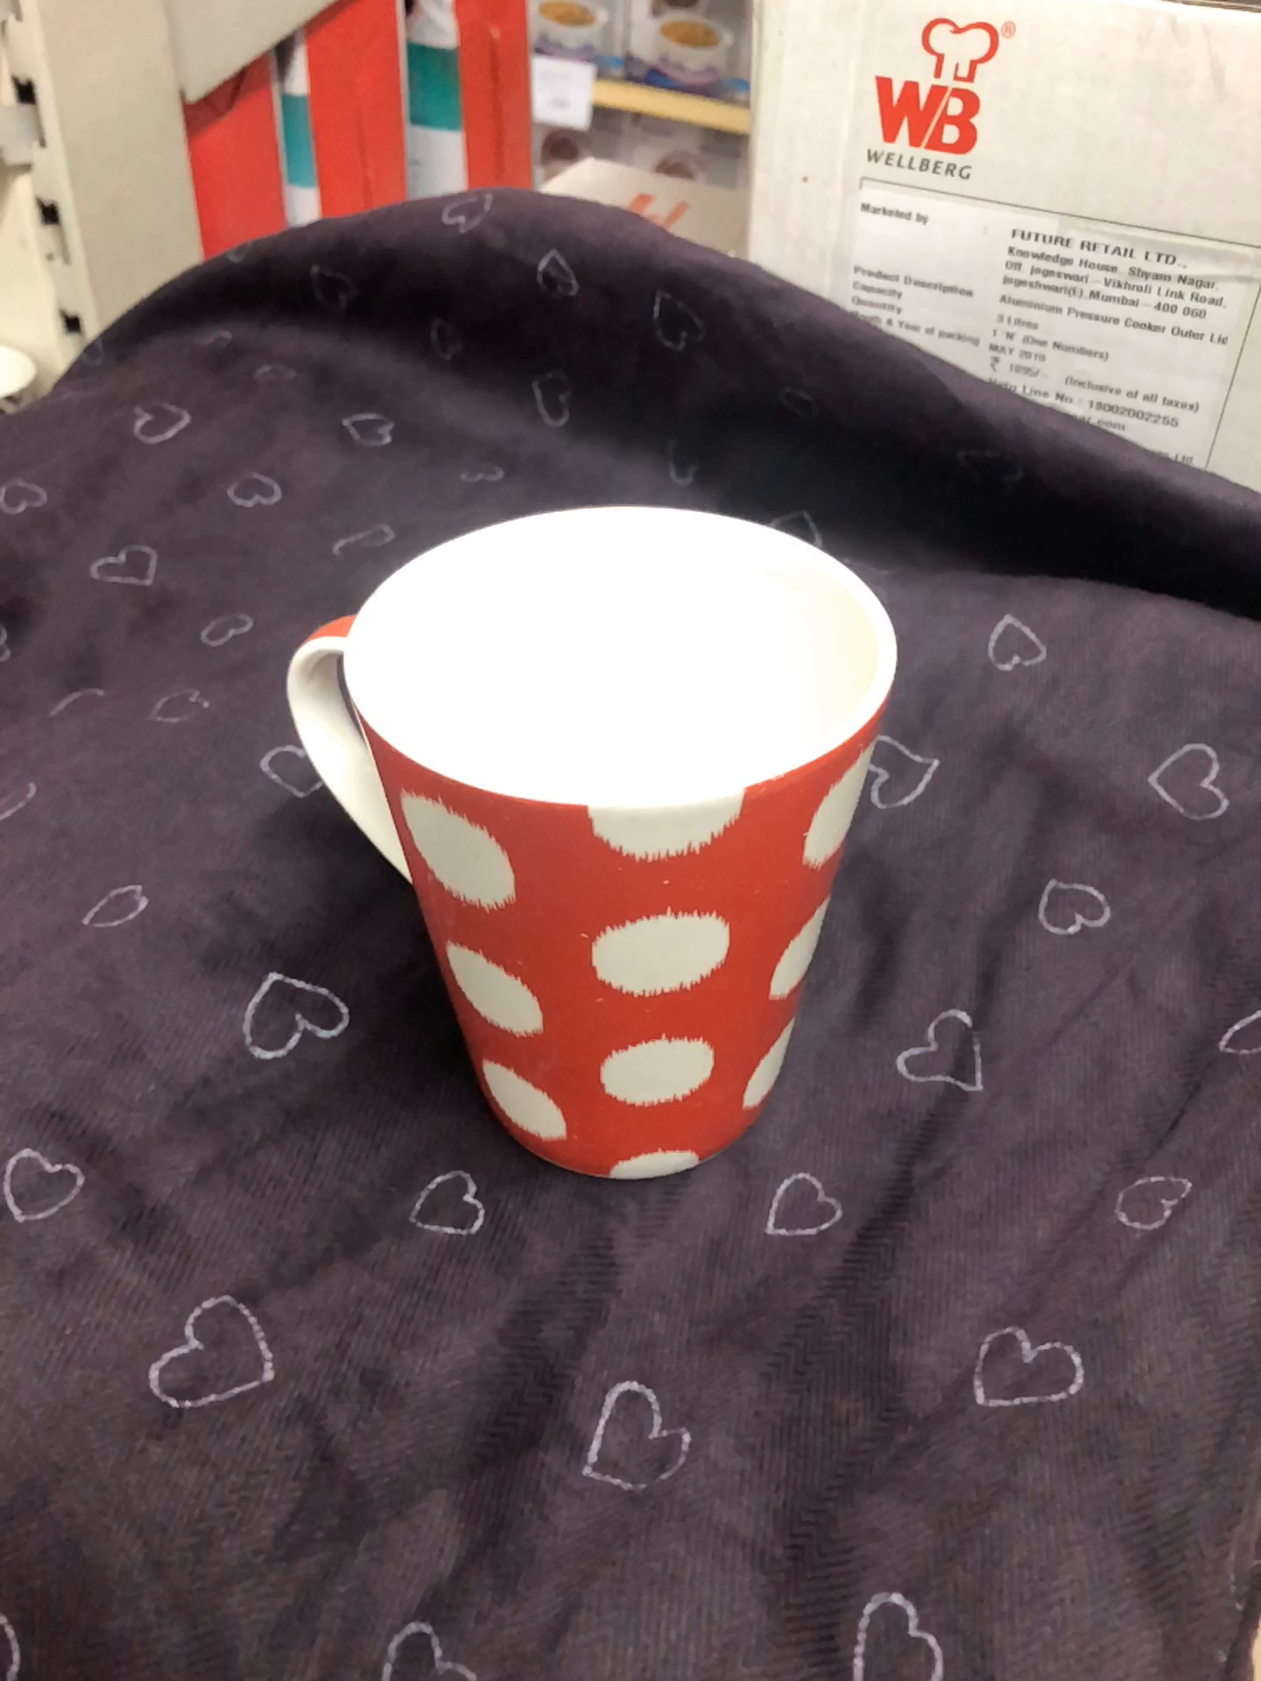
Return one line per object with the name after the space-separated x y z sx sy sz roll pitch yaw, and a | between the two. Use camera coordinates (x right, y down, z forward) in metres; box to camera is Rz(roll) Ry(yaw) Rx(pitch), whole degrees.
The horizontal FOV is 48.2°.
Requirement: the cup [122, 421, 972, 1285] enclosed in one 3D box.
-0.010 -0.002 0.261 0.110 0.099 0.091 17 43 14 | cup
